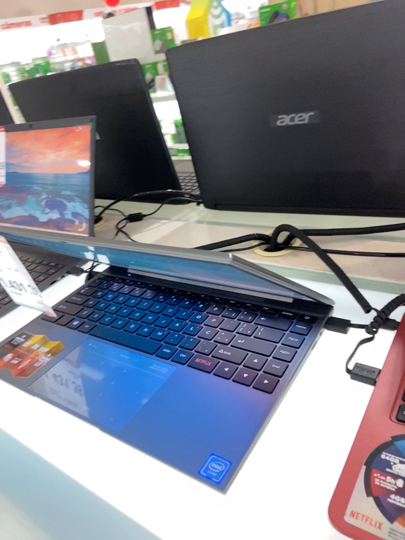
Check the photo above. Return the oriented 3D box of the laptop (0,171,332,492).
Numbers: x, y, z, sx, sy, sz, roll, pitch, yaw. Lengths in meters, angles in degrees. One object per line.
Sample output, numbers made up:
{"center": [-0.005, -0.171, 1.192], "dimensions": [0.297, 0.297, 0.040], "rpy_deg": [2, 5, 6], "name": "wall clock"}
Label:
{"center": [-0.077, 0.010, 0.403], "dimensions": [0.328, 0.139, 0.211], "rpy_deg": [8, 35, 35], "name": "laptop"}
